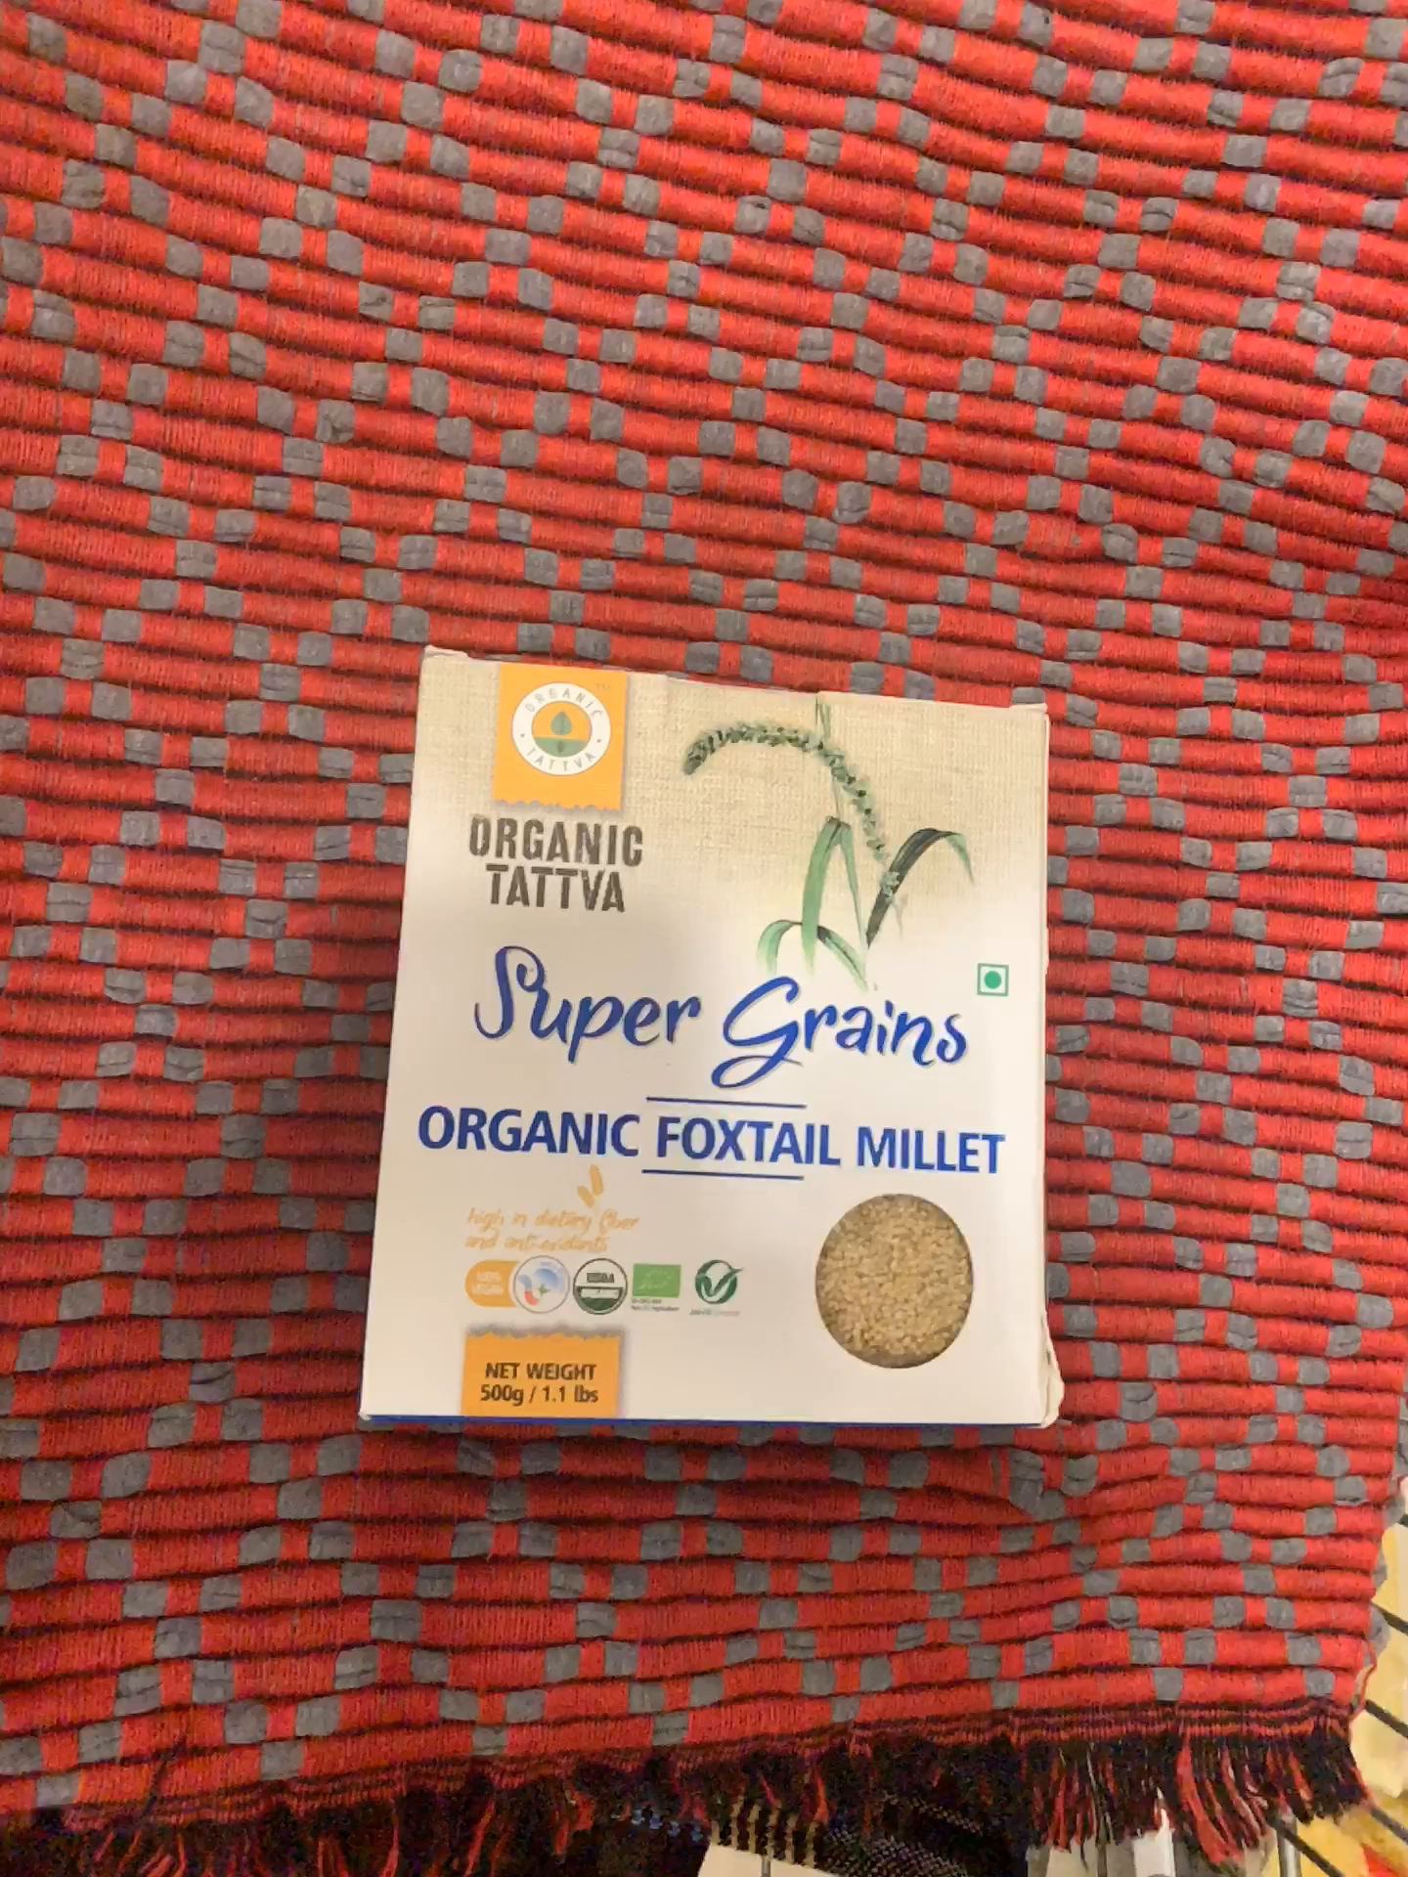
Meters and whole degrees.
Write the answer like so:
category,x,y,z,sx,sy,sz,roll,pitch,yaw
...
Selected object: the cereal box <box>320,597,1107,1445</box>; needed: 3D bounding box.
category,x,y,z,sx,sy,sz,roll,pitch,yaw
cereal box,0.003,0.019,0.297,0.140,0.060,0.150,3,80,-8
